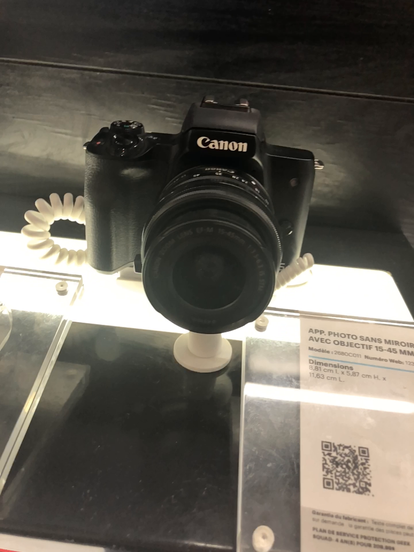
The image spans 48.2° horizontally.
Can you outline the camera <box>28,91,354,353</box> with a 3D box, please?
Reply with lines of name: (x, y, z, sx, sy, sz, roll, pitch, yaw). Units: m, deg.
camera: (-0.006, -0.034, 0.232, 0.119, 0.089, 0.101, 6, 28, 2)
